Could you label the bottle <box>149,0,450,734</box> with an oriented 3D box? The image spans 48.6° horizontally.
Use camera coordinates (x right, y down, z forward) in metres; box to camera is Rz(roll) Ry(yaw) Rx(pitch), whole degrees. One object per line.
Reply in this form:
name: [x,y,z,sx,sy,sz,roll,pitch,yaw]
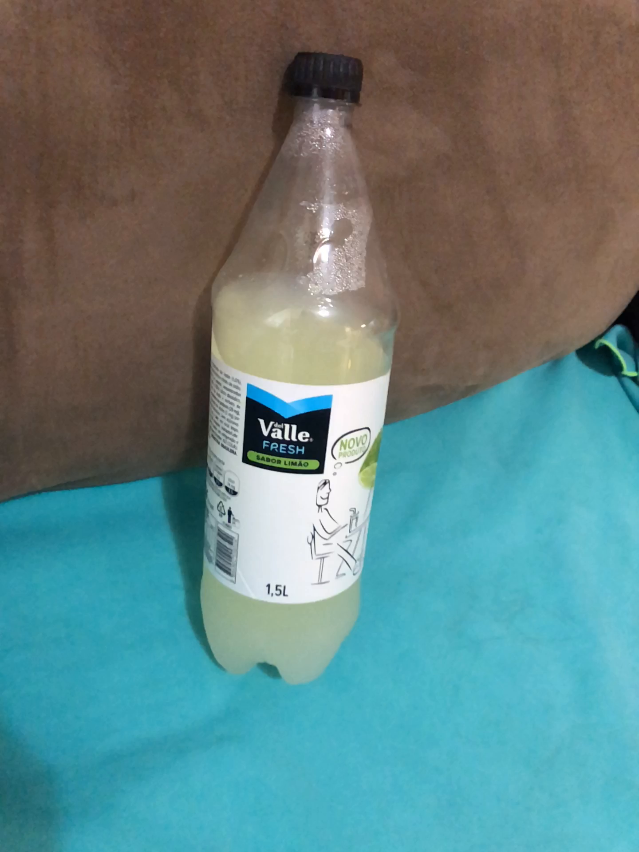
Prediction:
bottle: [-0.011,-0.029,0.363,0.100,0.329,0.100,-1,16,0]
